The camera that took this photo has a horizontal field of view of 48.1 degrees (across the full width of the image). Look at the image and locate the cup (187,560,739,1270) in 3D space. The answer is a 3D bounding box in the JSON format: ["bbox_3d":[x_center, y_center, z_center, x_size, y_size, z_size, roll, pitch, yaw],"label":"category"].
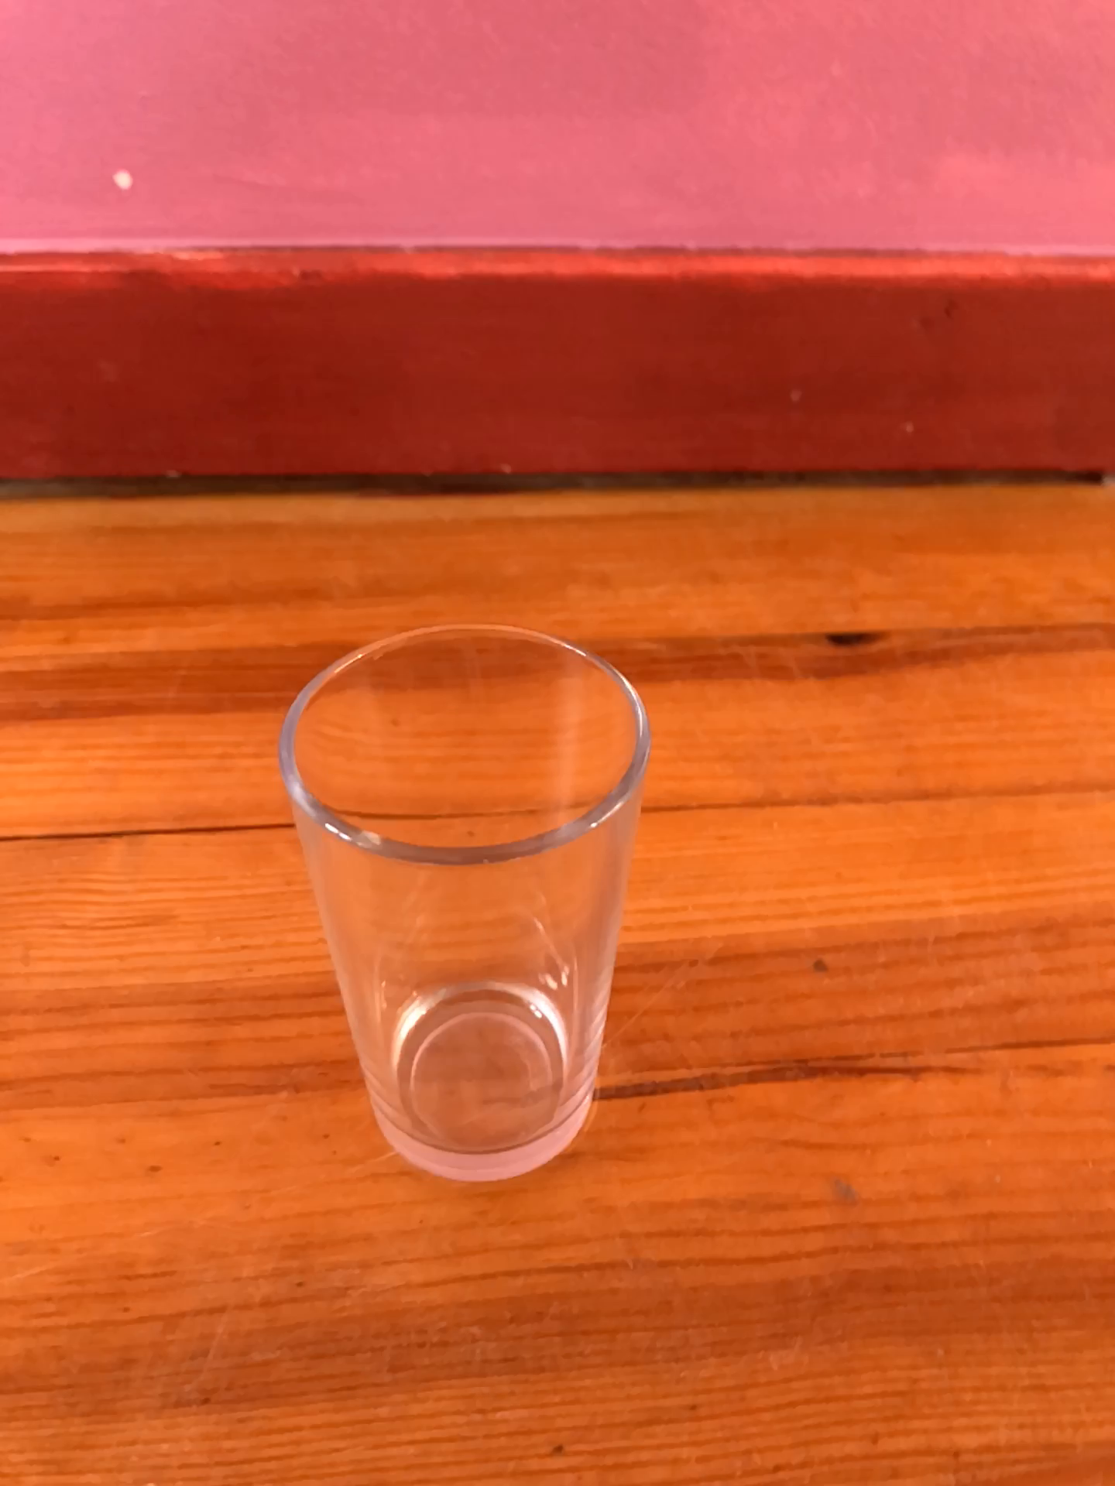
[{"bbox_3d":[-0.013,0.025,0.193,0.051,0.079,0.055,0,38,0],"label":"cup"}]
